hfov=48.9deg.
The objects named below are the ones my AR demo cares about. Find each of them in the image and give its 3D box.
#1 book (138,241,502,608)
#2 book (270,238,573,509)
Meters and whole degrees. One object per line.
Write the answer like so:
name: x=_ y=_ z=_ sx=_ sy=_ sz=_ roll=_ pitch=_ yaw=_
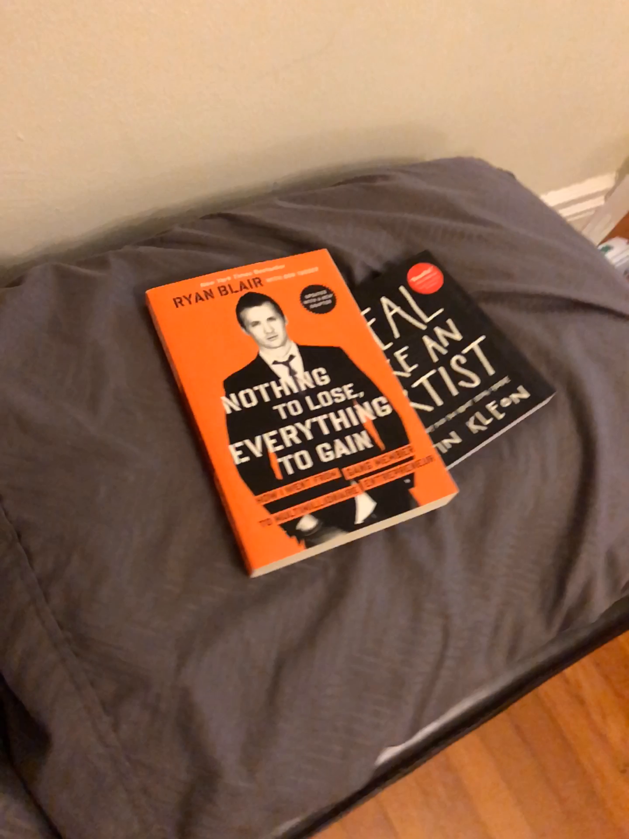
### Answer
book: x=-0.001 y=-0.013 z=0.476 sx=0.170 sy=0.020 sz=0.230 roll=-18 pitch=68 yaw=-20
book: x=0.078 y=-0.043 z=0.511 sx=0.150 sy=0.020 sz=0.170 roll=-31 pitch=71 yaw=-24
